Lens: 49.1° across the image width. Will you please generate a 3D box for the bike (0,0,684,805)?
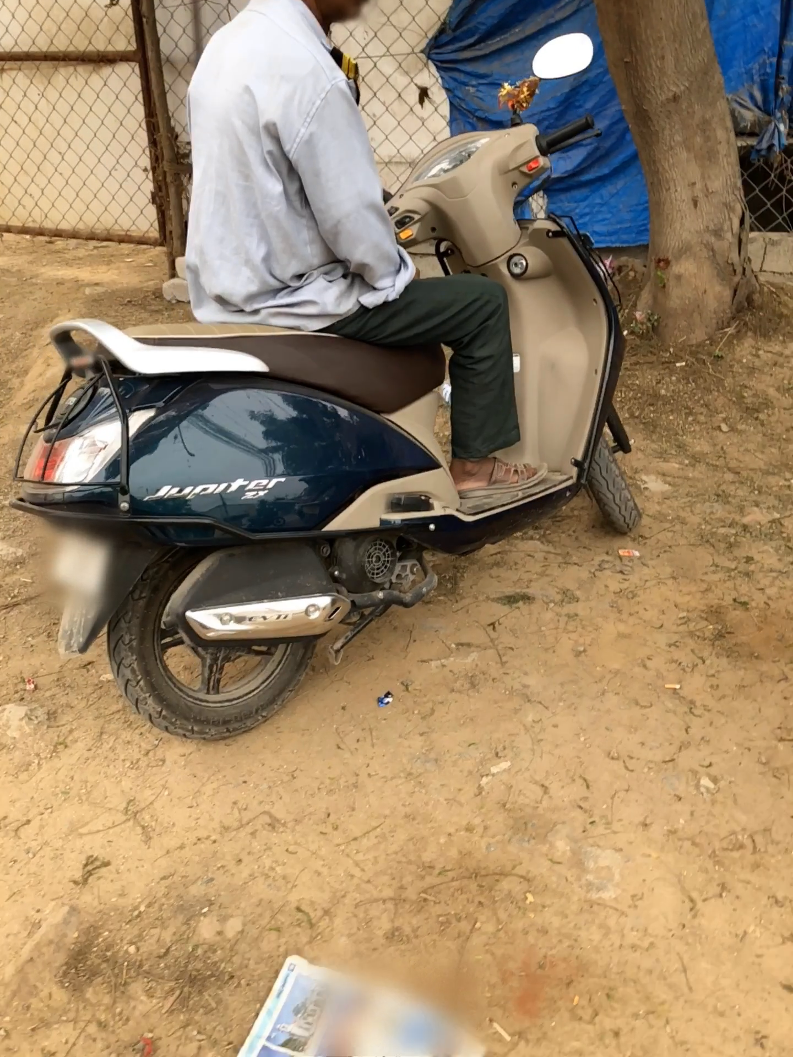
[{"bbox_3d":[-0.122,-0.446,1.904,1.347,1.120,0.635,-29,39,-32],"label":"bike"}]
